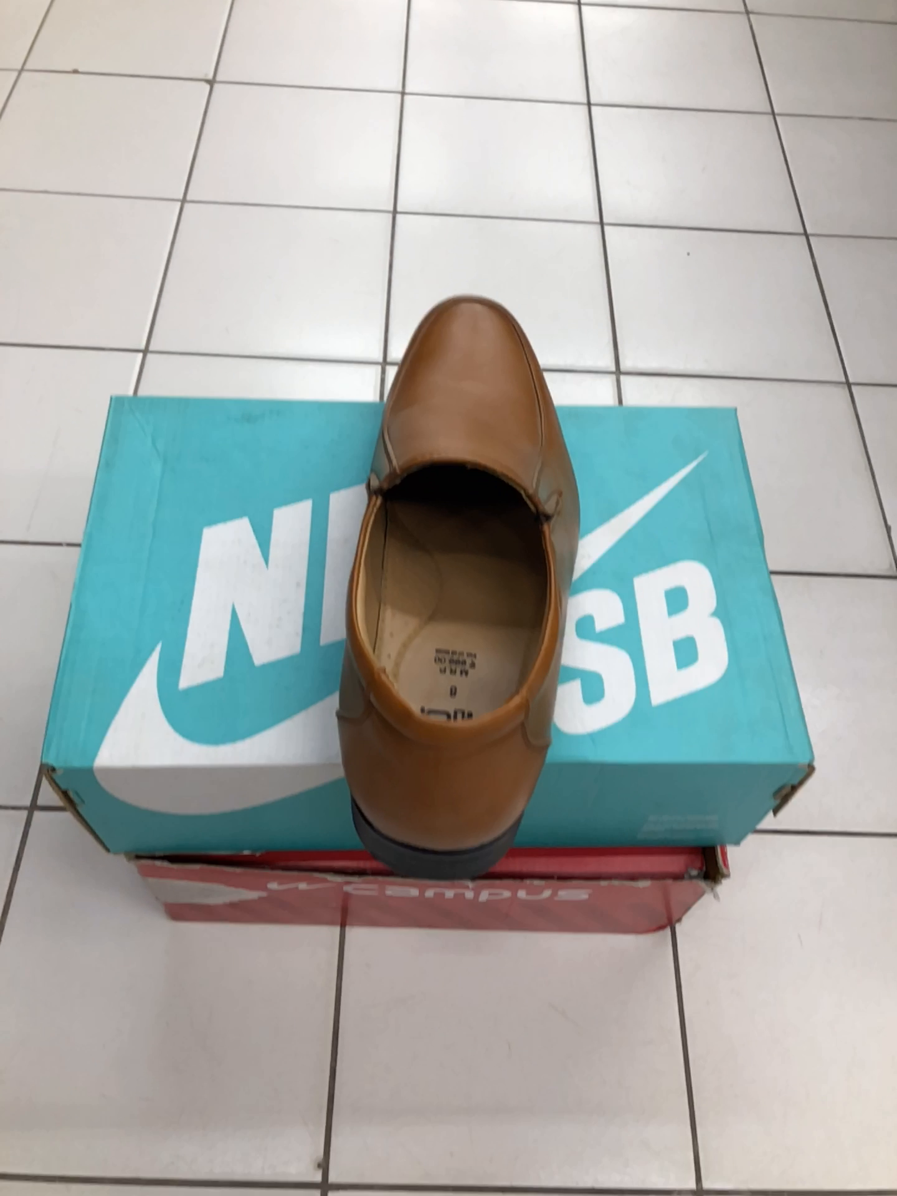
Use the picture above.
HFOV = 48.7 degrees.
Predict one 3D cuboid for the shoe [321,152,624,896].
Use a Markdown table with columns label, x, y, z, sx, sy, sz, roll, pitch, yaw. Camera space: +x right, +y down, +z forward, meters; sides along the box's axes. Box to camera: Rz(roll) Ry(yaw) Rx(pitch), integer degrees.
| label | x | y | z | sx | sy | sz | roll | pitch | yaw |
| --- | --- | --- | --- | --- | --- | --- | --- | --- | --- |
| shoe | 0.014 | -0.047 | 0.419 | 0.090 | 0.100 | 0.311 | 4 | 57 | -1 |
